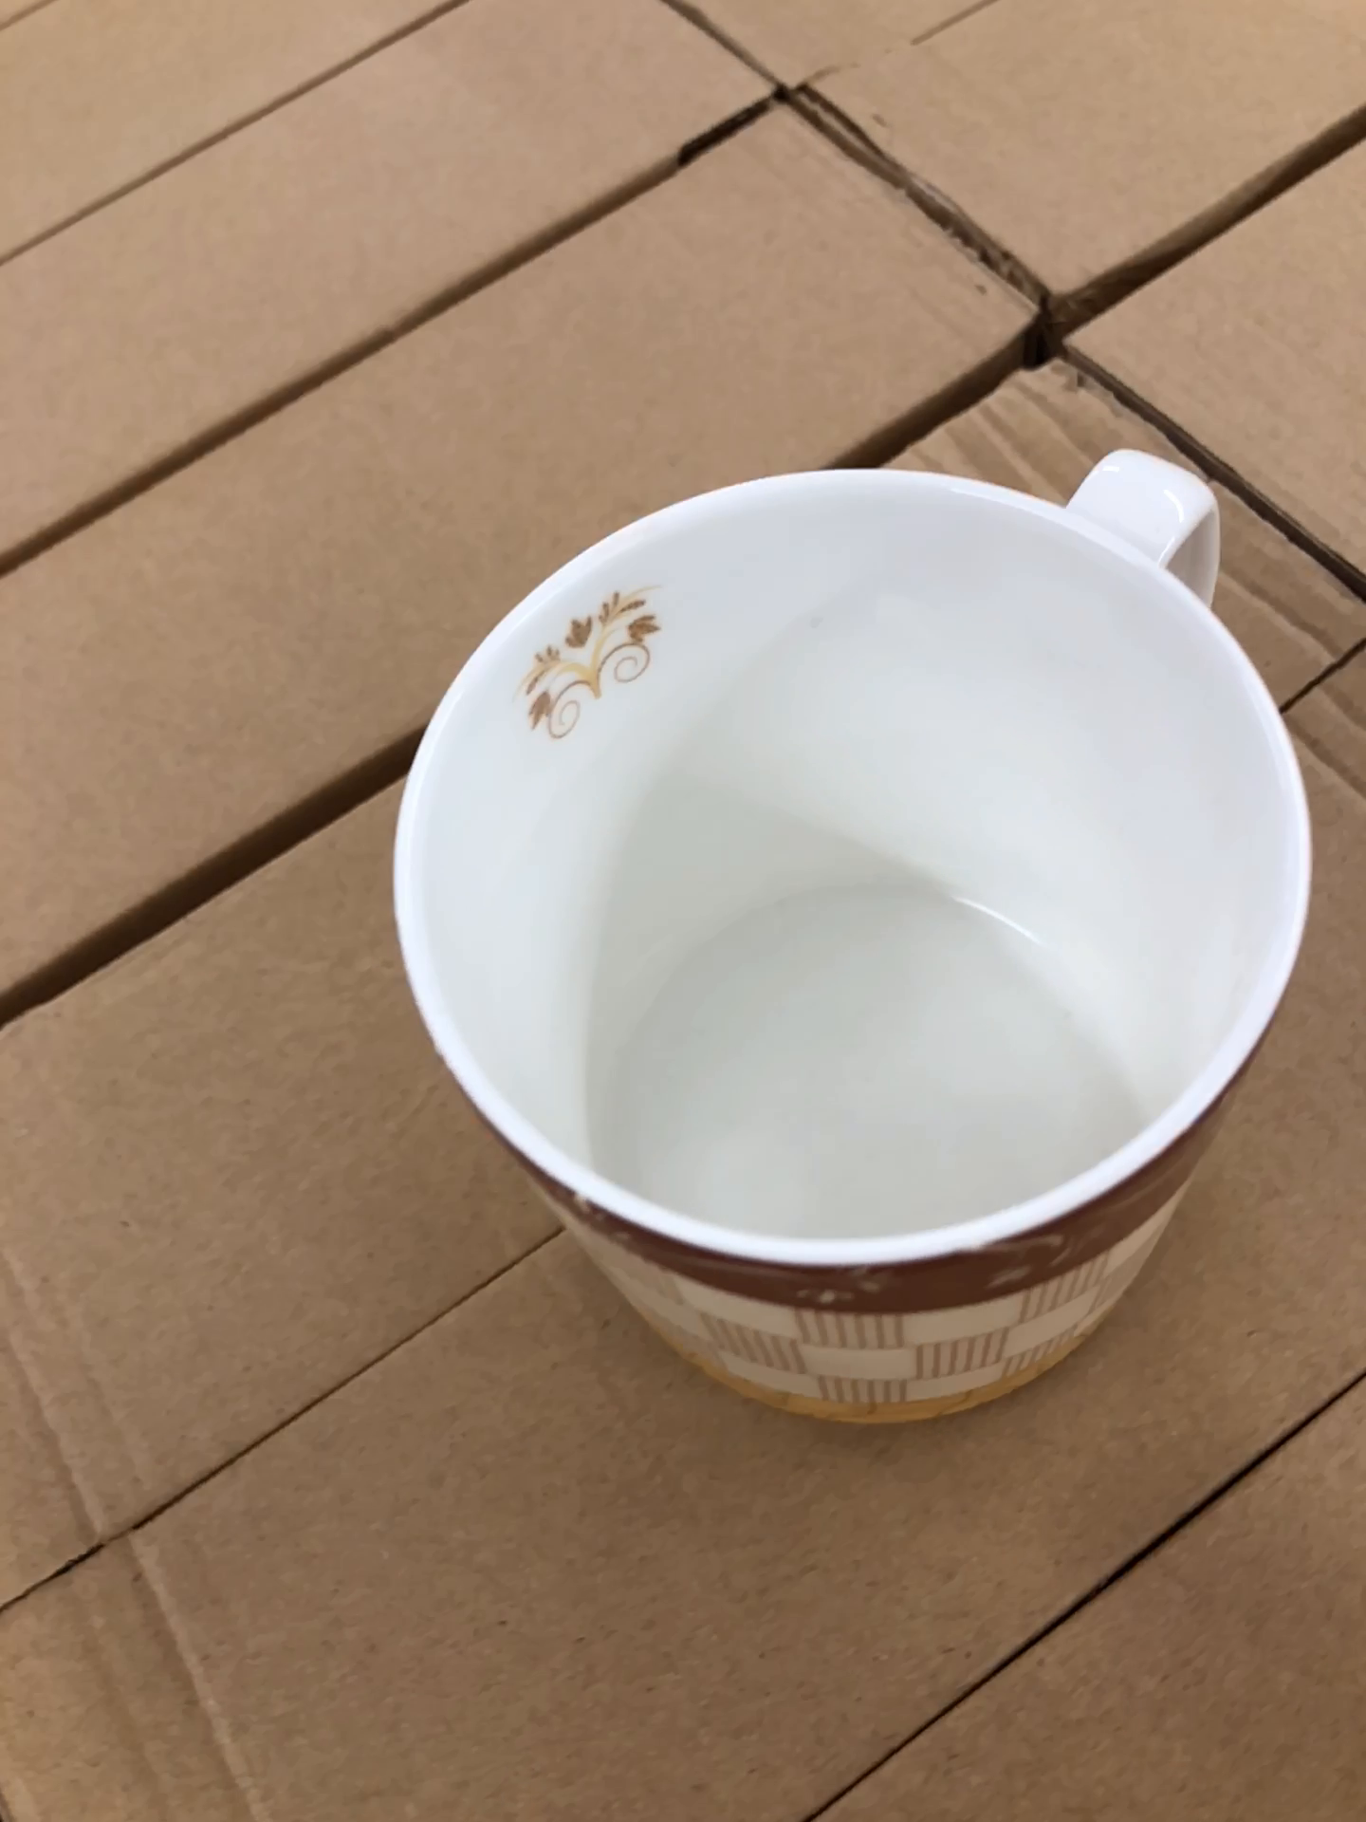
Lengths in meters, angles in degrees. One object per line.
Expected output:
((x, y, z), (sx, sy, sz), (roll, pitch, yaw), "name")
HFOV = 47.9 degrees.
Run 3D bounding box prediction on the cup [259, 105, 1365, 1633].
((0.031, 0.000, 0.144), (0.070, 0.080, 0.100), (22, 70, 18), "cup")
